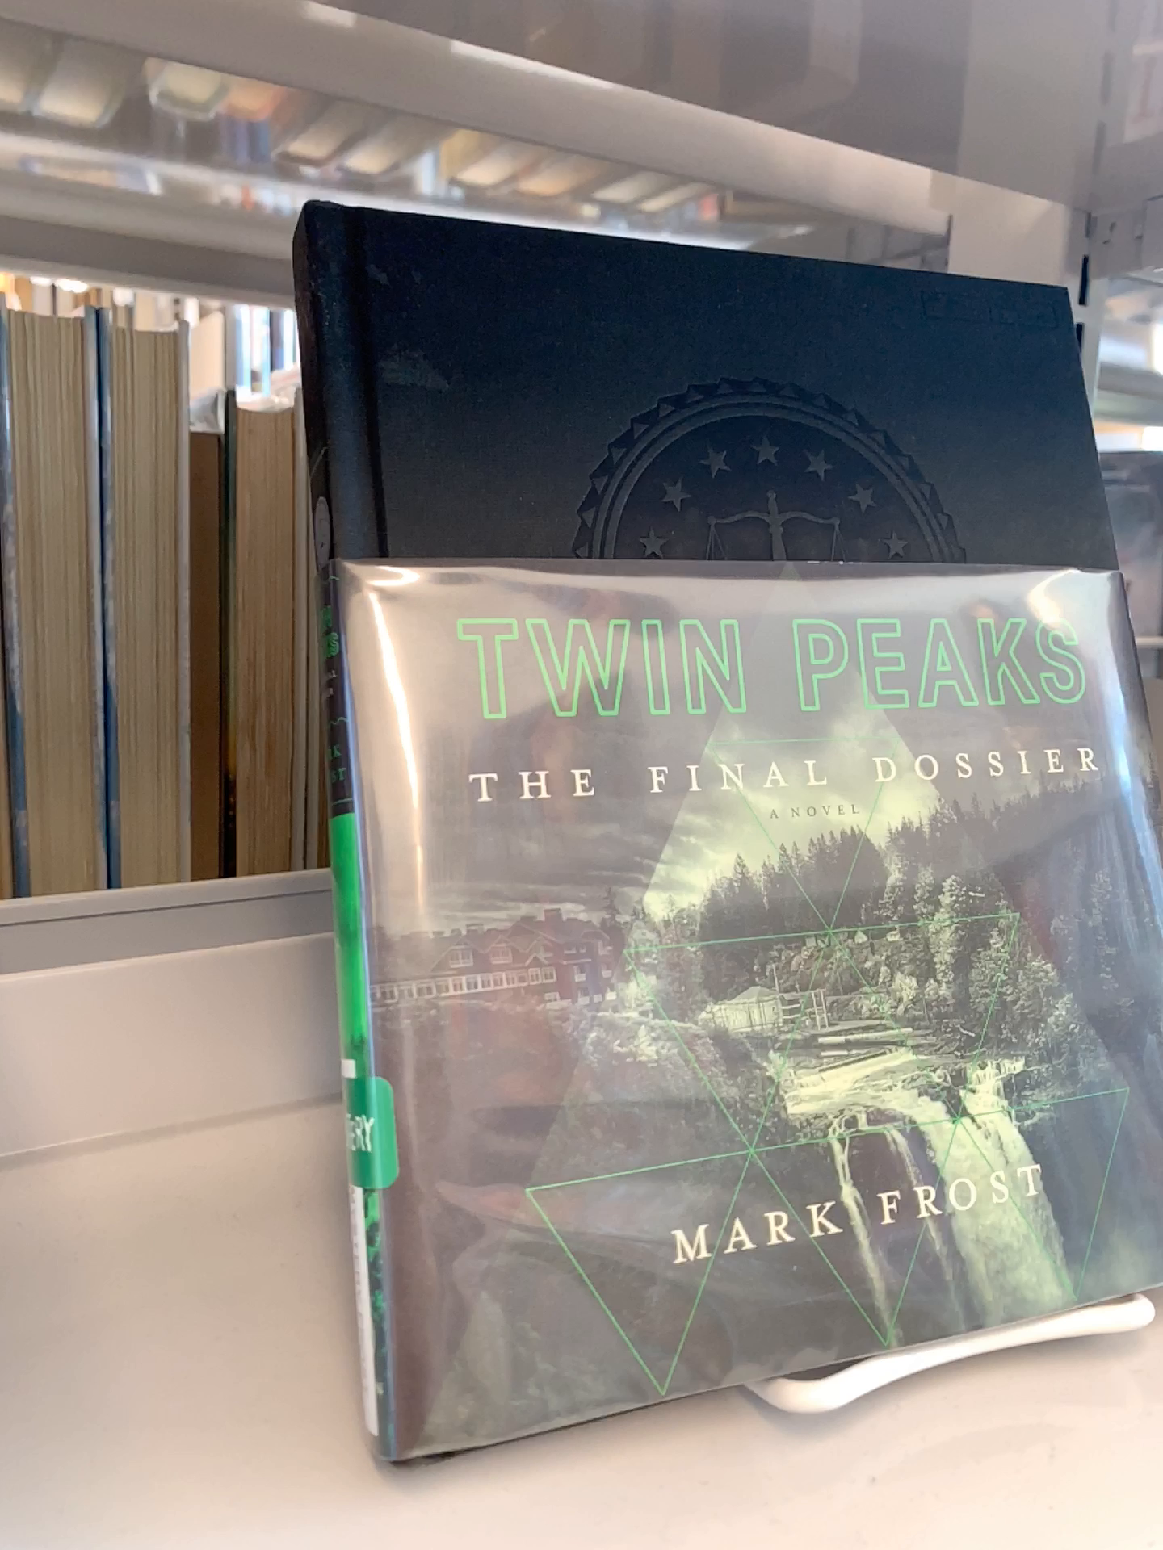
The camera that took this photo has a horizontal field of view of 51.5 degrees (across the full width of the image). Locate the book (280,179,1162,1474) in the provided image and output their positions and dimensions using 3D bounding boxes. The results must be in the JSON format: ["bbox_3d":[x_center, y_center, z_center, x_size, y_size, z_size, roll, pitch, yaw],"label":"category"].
[{"bbox_3d":[0.041,-0.001,0.252,0.190,0.228,0.020,-2,-8,-20],"label":"book"}]
